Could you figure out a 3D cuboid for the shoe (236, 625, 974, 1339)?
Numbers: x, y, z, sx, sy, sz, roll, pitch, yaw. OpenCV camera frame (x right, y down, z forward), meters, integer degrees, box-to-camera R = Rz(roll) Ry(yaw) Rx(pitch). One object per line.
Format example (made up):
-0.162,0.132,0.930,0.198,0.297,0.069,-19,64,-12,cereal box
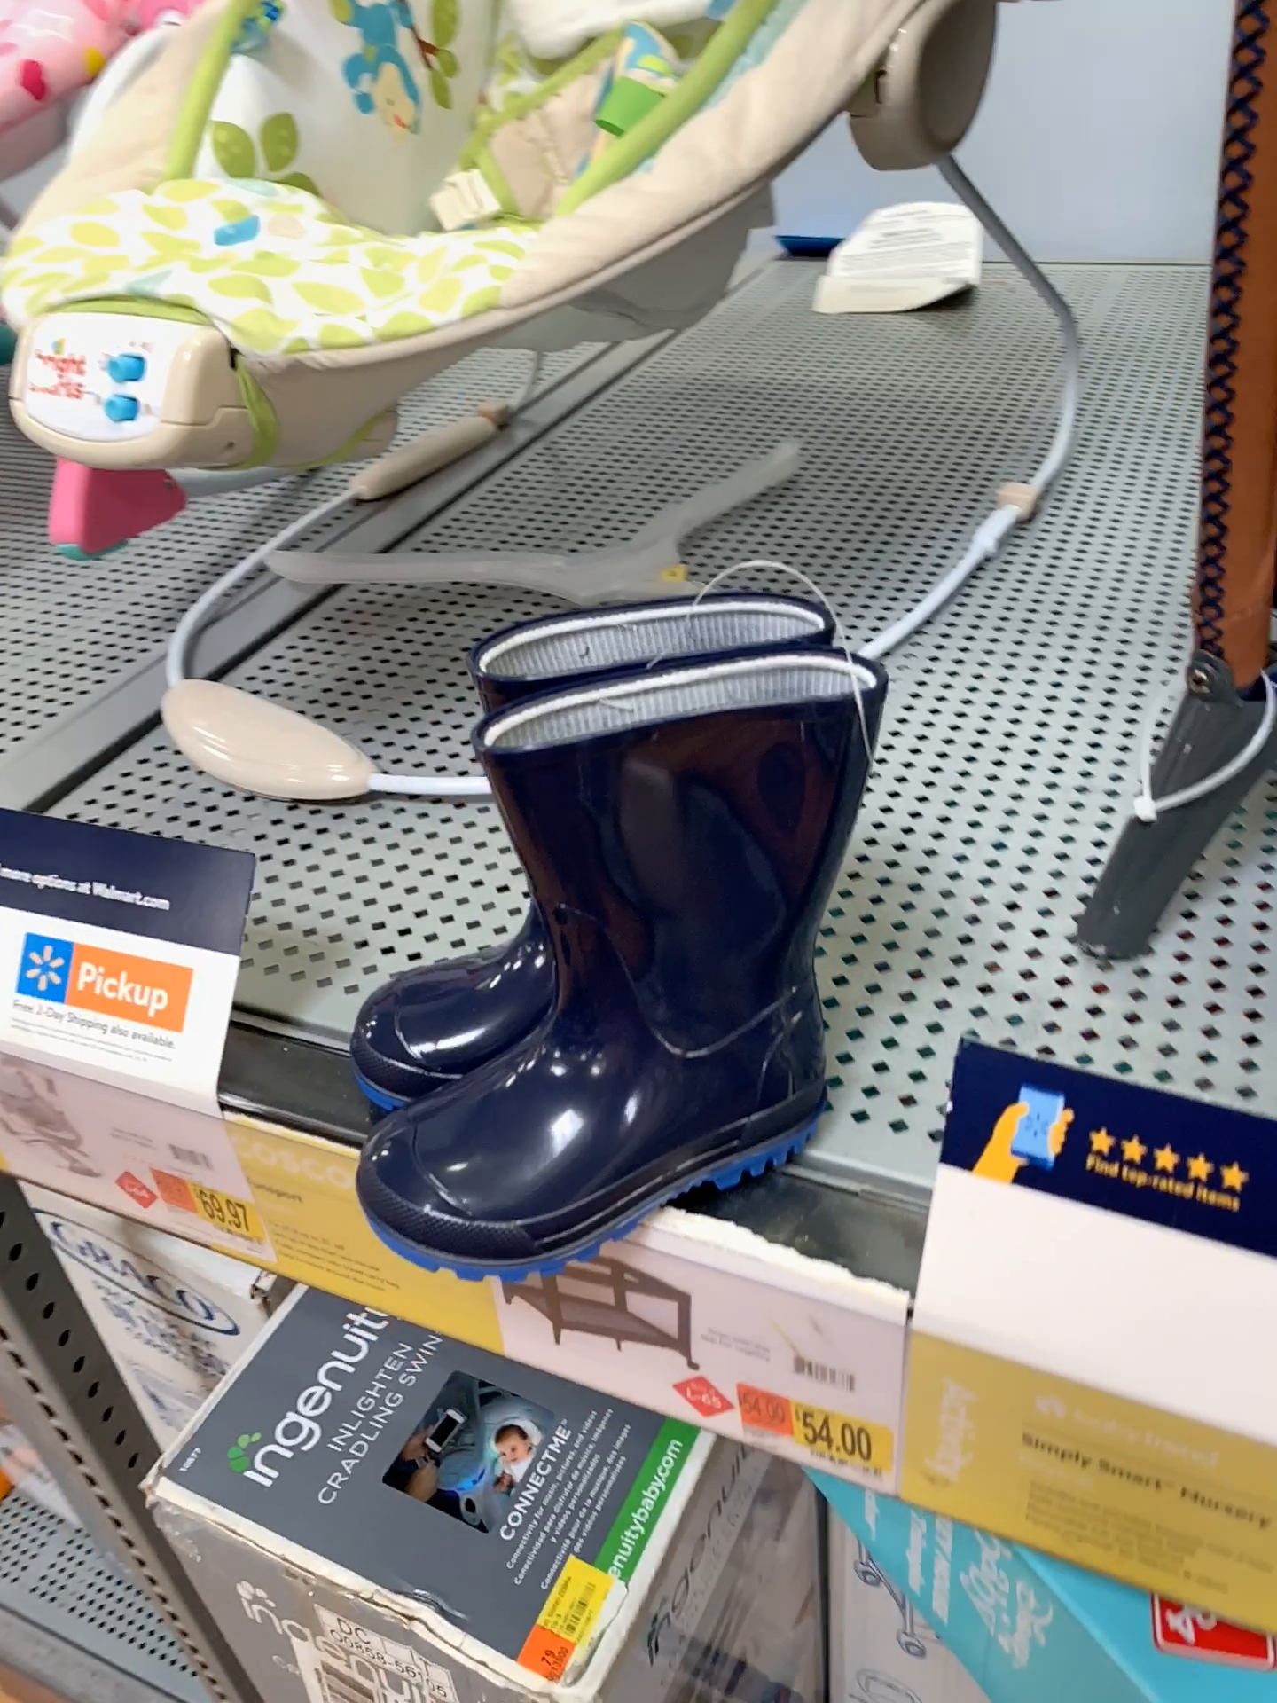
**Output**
-0.005,0.034,0.369,0.173,0.143,0.076,-14,33,-12,shoe

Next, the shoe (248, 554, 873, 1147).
-0.020,-0.002,0.424,0.173,0.143,0.075,-11,33,-8,shoe
